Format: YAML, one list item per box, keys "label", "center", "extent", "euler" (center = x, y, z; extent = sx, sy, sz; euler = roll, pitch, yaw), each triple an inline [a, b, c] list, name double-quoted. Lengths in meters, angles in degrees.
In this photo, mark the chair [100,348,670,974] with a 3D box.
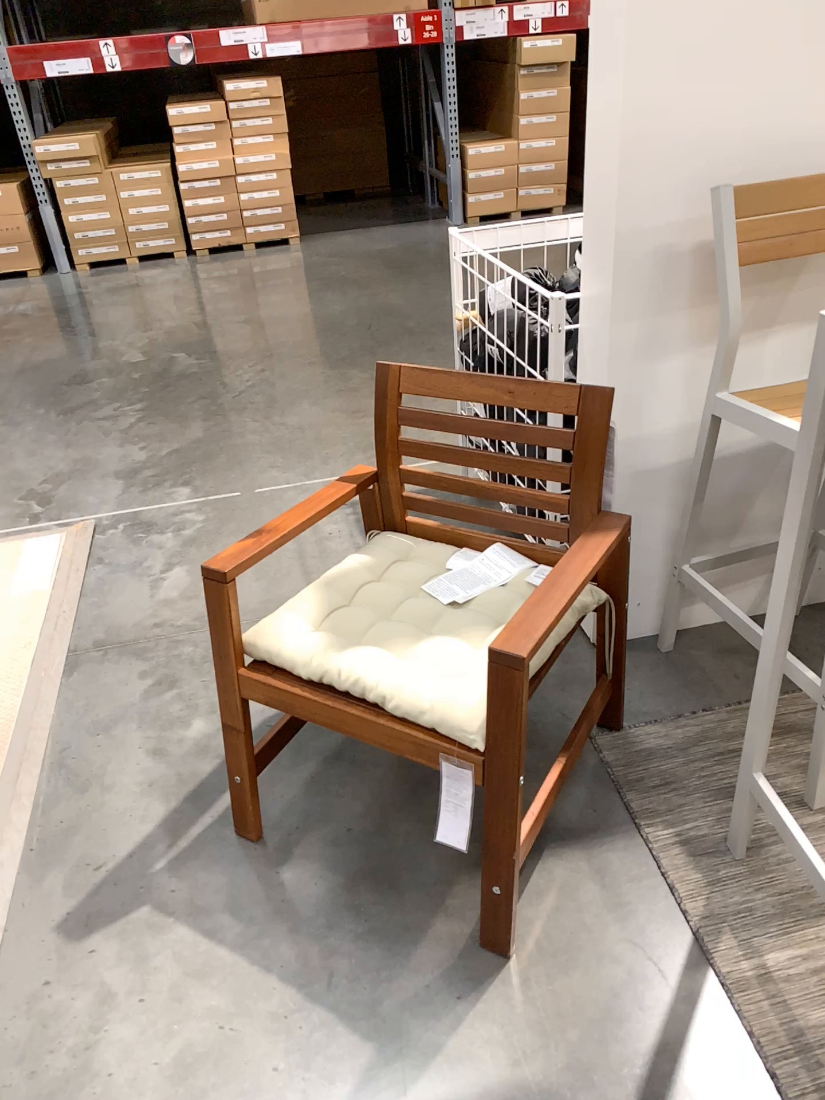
- label: "chair"
  center: [0.024, 0.122, 1.532]
  extent: [0.651, 0.706, 0.723]
  euler: [12, 36, 26]
